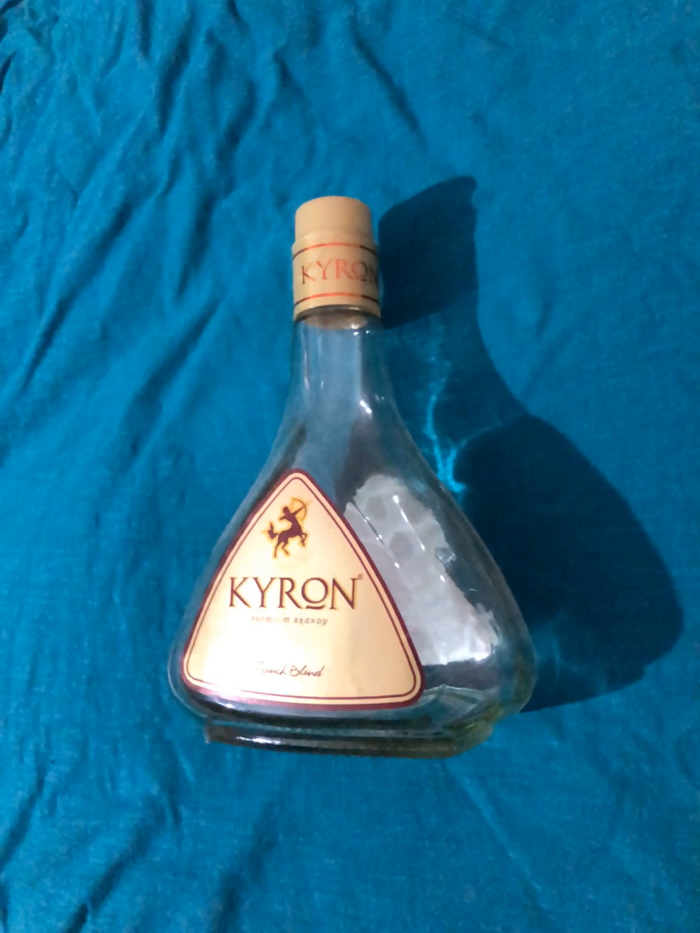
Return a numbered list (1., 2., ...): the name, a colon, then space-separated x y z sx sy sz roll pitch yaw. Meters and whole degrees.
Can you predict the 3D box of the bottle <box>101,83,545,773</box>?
1. bottle: -0.010 -0.007 0.252 0.120 0.060 0.180 -6 84 23
